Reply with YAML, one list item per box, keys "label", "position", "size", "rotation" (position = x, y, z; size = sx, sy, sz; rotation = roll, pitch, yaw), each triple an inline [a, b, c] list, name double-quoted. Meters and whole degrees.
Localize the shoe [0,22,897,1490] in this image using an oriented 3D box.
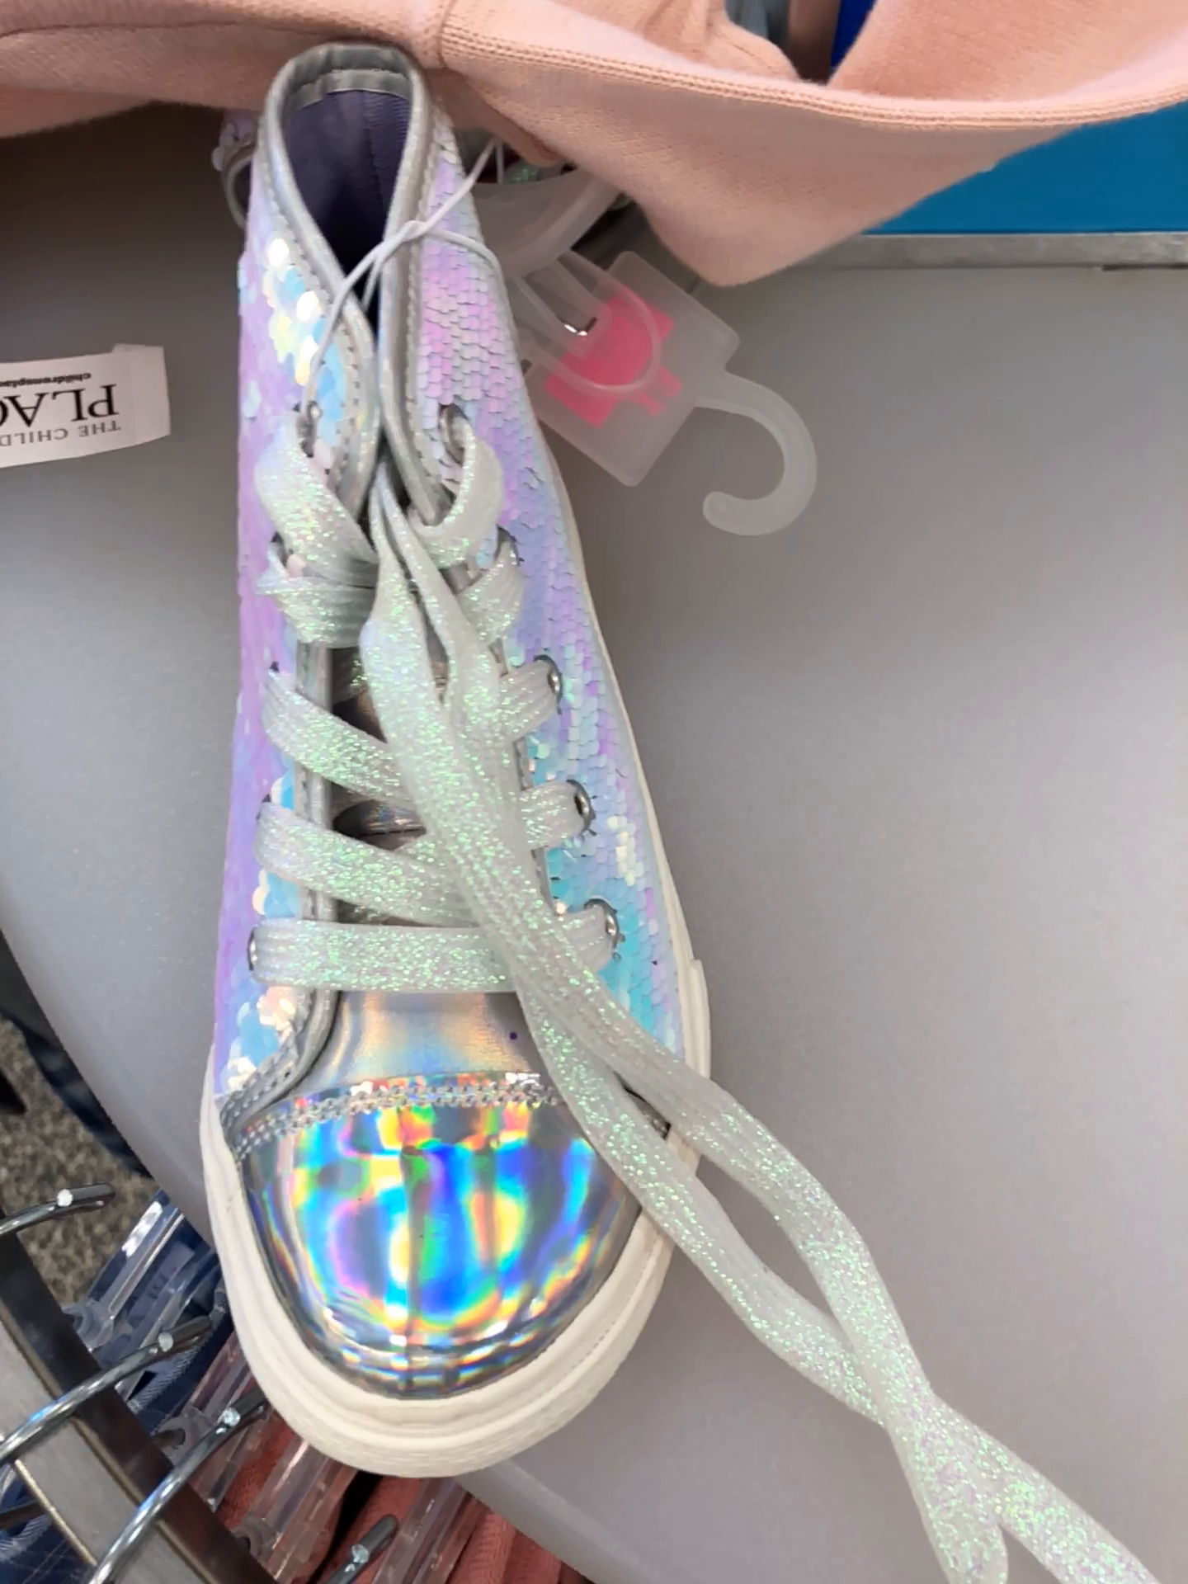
- label: "shoe"
  position: [-0.025, -0.010, 0.218]
  size: [0.090, 0.105, 0.212]
  rotation: [-4, 61, -2]
